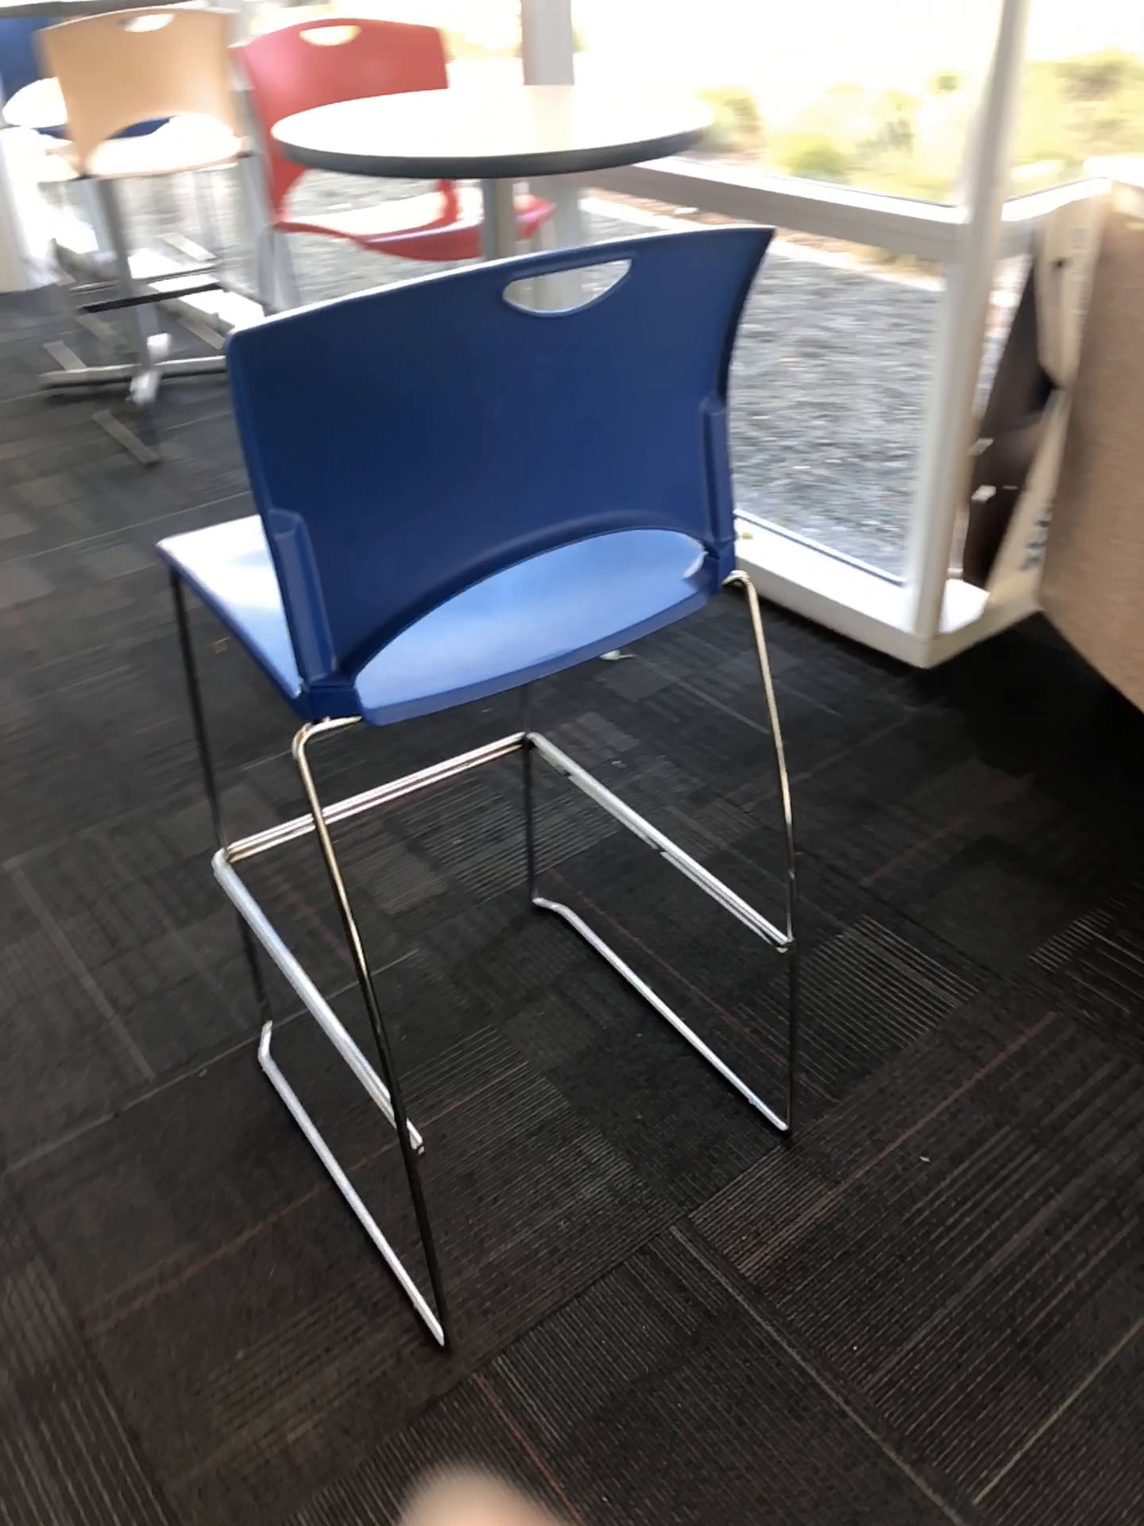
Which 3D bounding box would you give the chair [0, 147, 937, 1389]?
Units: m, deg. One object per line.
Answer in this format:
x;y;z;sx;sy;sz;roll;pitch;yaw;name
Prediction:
-0.110;-0.030;1.282;0.551;0.965;0.613;-21;38;-26;chair
